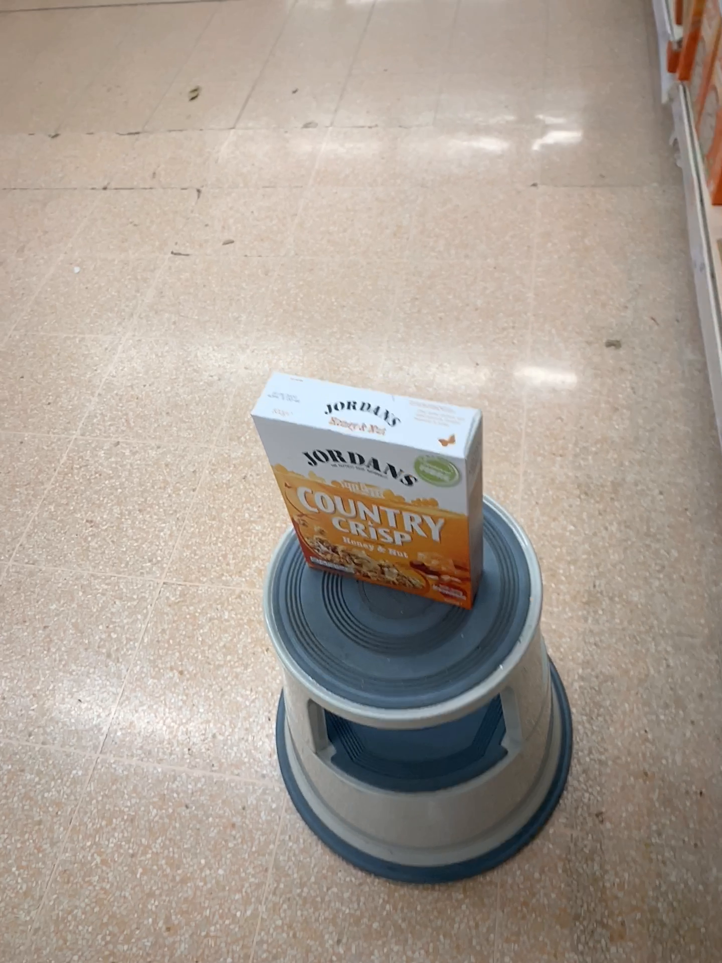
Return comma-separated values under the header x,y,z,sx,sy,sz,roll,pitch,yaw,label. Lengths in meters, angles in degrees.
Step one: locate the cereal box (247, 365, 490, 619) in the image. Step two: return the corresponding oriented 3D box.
x,y,z,sx,sy,sz,roll,pitch,yaw,label
0.018,0.020,0.670,0.180,0.258,0.050,13,57,17,cereal box
